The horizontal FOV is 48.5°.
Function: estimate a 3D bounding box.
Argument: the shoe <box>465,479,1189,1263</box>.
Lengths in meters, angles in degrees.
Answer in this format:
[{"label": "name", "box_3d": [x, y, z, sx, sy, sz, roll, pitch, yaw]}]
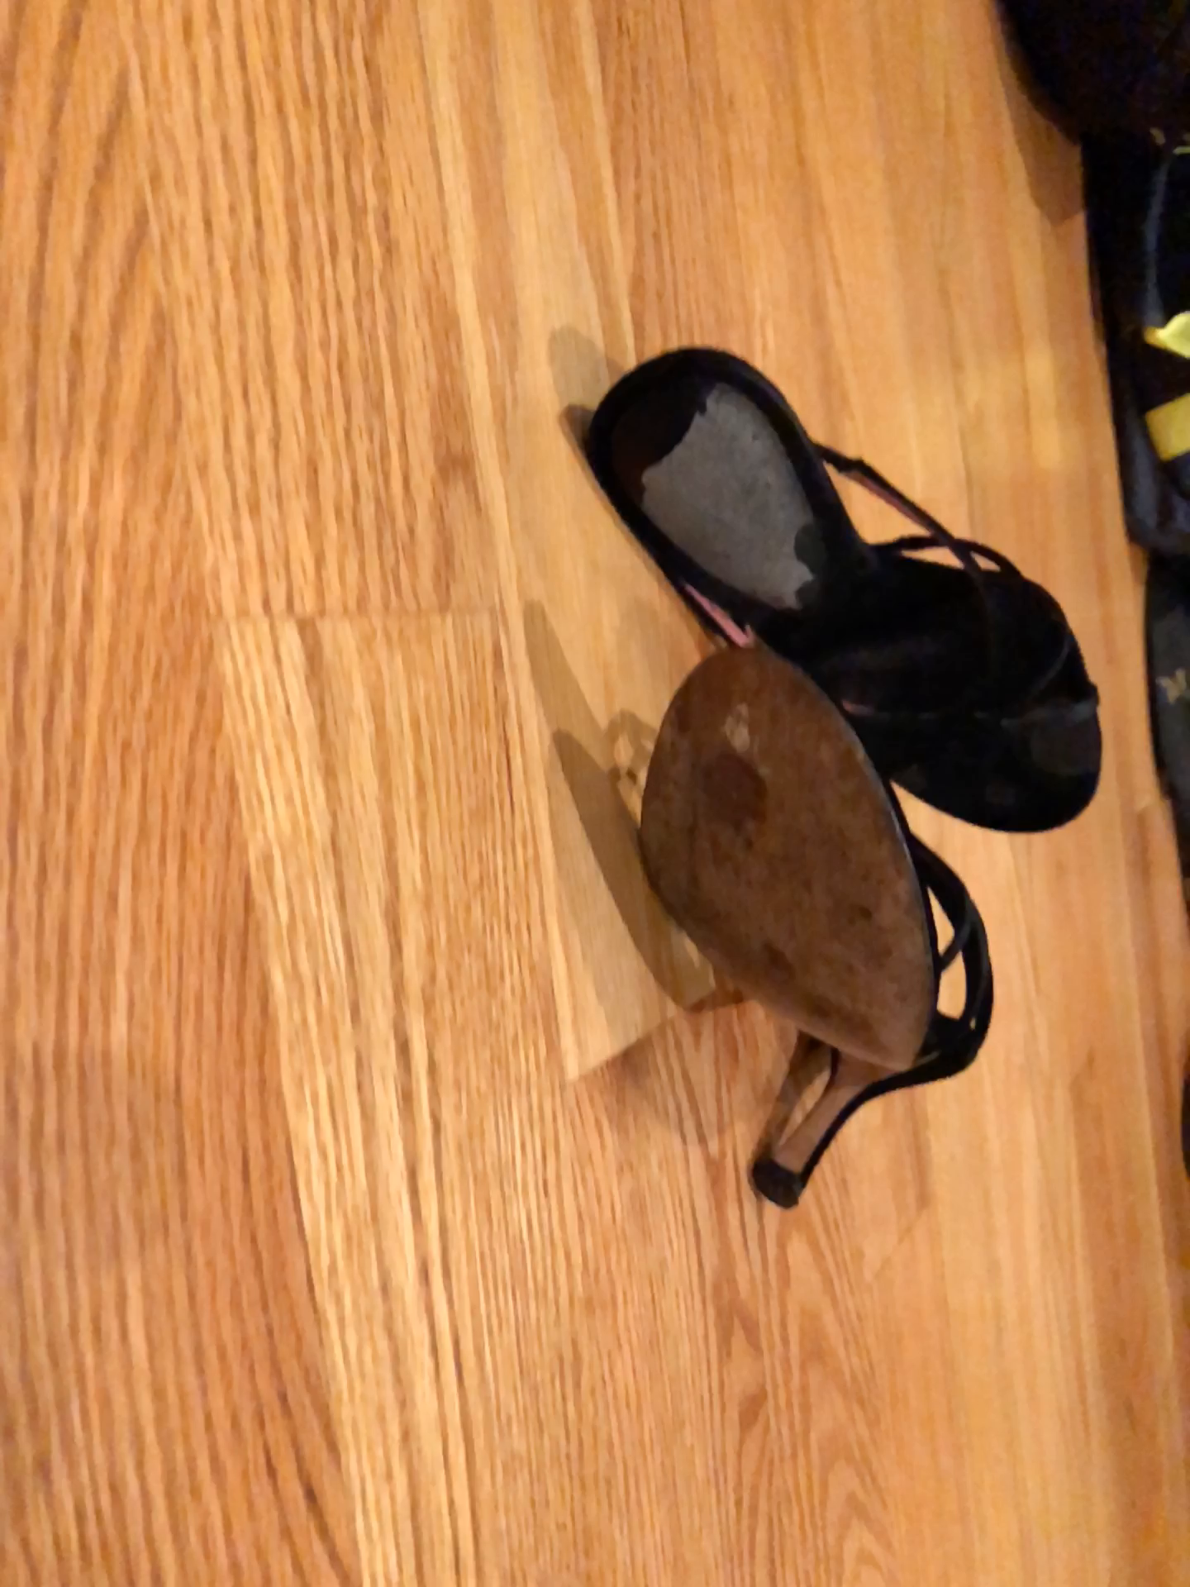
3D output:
[{"label": "shoe", "box_3d": [0.080, 0.039, 0.339, 0.216, 0.104, 0.102, 45, 48, -47]}]

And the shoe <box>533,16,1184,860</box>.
[{"label": "shoe", "box_3d": [0.095, -0.073, 0.381, 0.236, 0.104, 0.082, 47, 49, -47]}]
